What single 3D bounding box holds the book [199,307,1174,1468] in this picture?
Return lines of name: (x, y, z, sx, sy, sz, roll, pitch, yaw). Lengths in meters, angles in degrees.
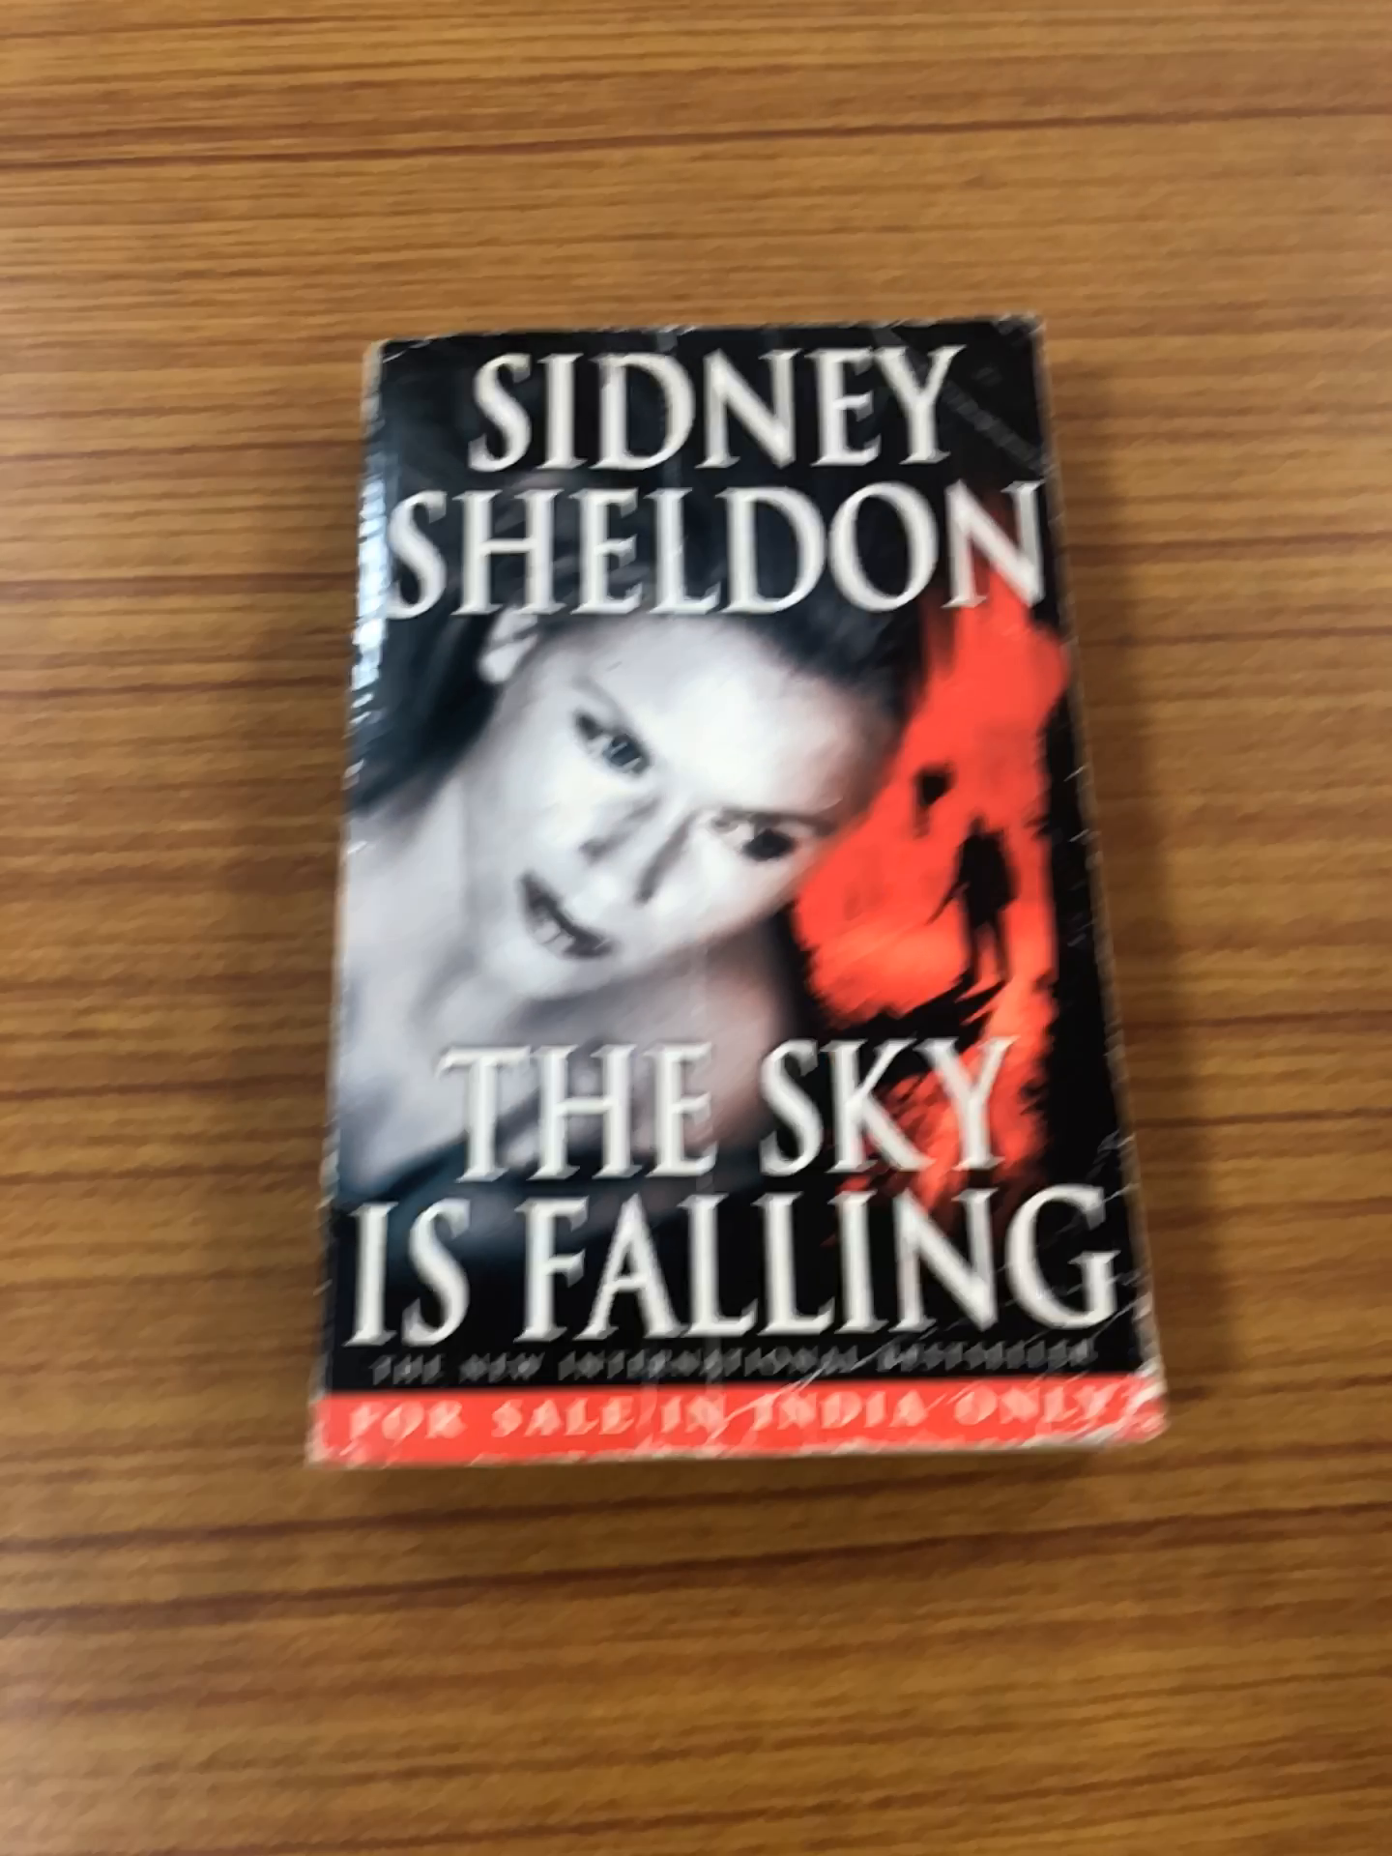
book: (-0.002, -0.011, 0.231, 0.120, 0.030, 0.170, 0, 73, 0)
